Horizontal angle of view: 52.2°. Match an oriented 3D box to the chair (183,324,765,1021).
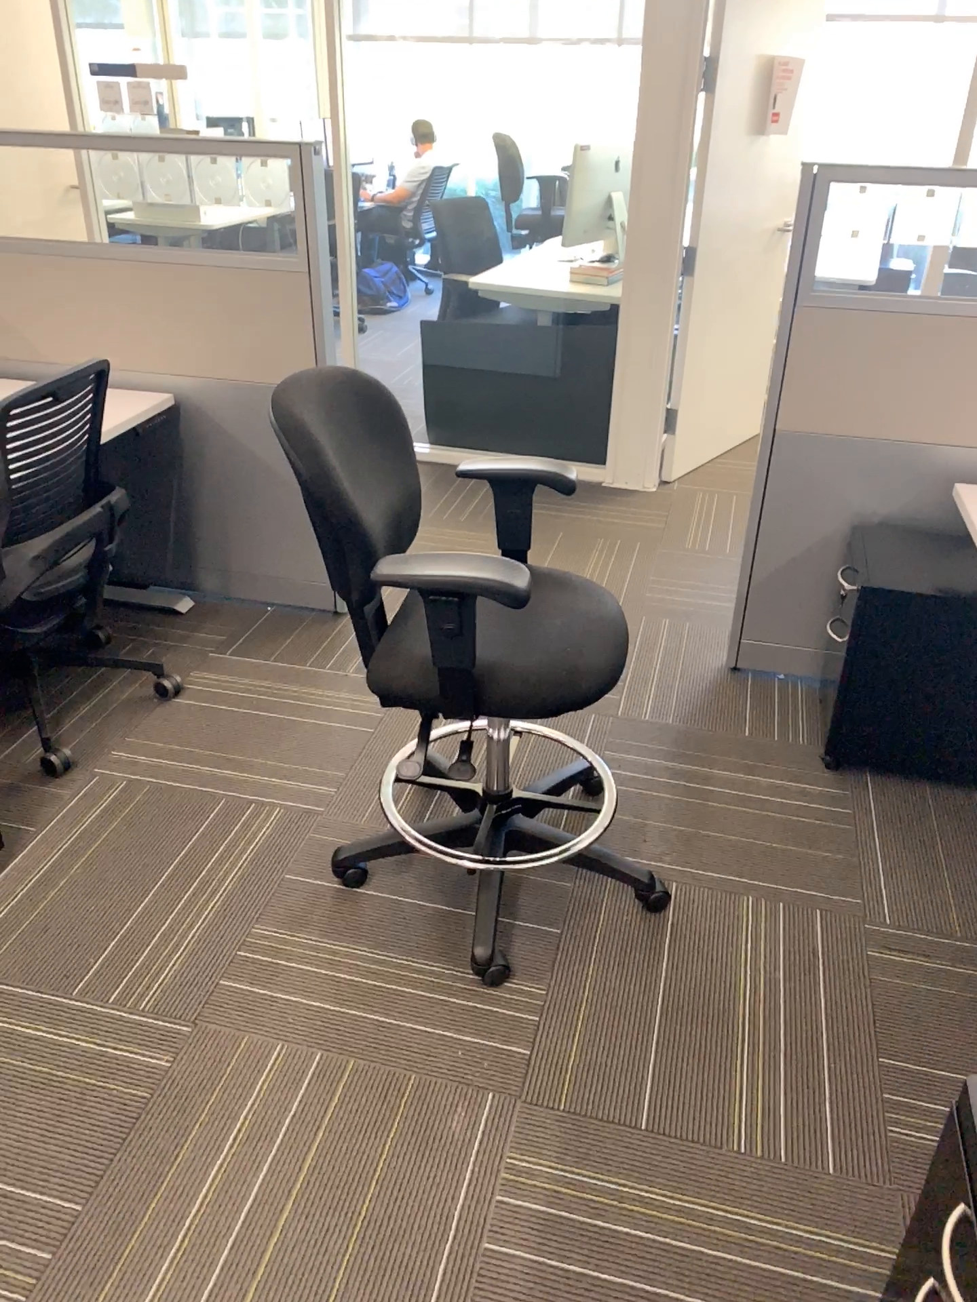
[{"bbox_3d":[0.029,-0.017,1.957,0.821,1.004,0.804,7,30,10],"label":"chair"}]
